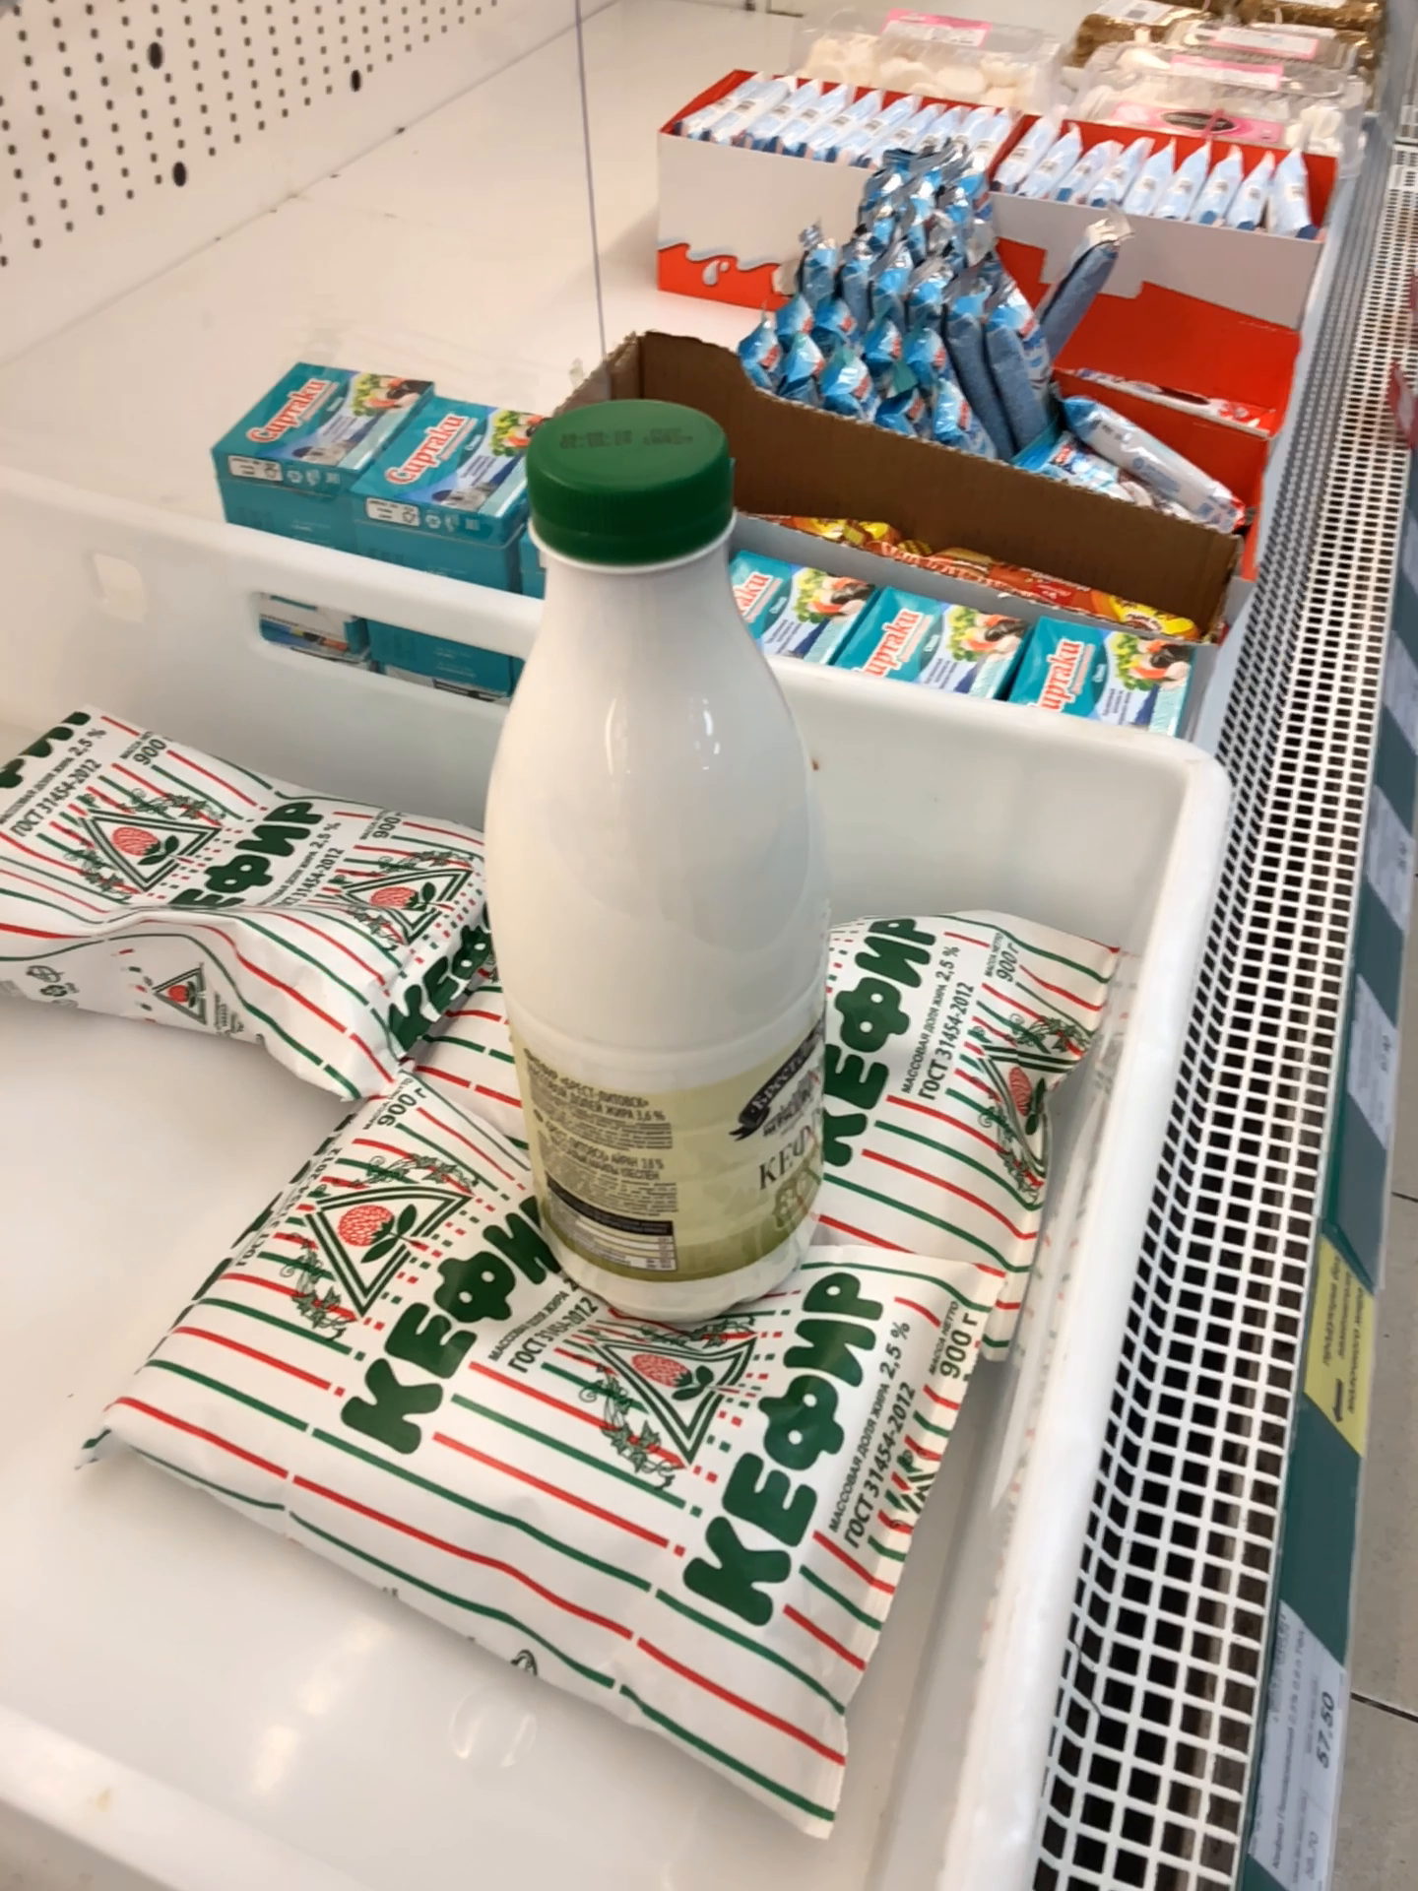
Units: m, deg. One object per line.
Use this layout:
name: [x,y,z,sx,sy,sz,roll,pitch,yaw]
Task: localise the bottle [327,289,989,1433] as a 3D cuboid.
bottle: [-0.013,-0.003,0.389,0.090,0.268,0.090,2,44,-2]
